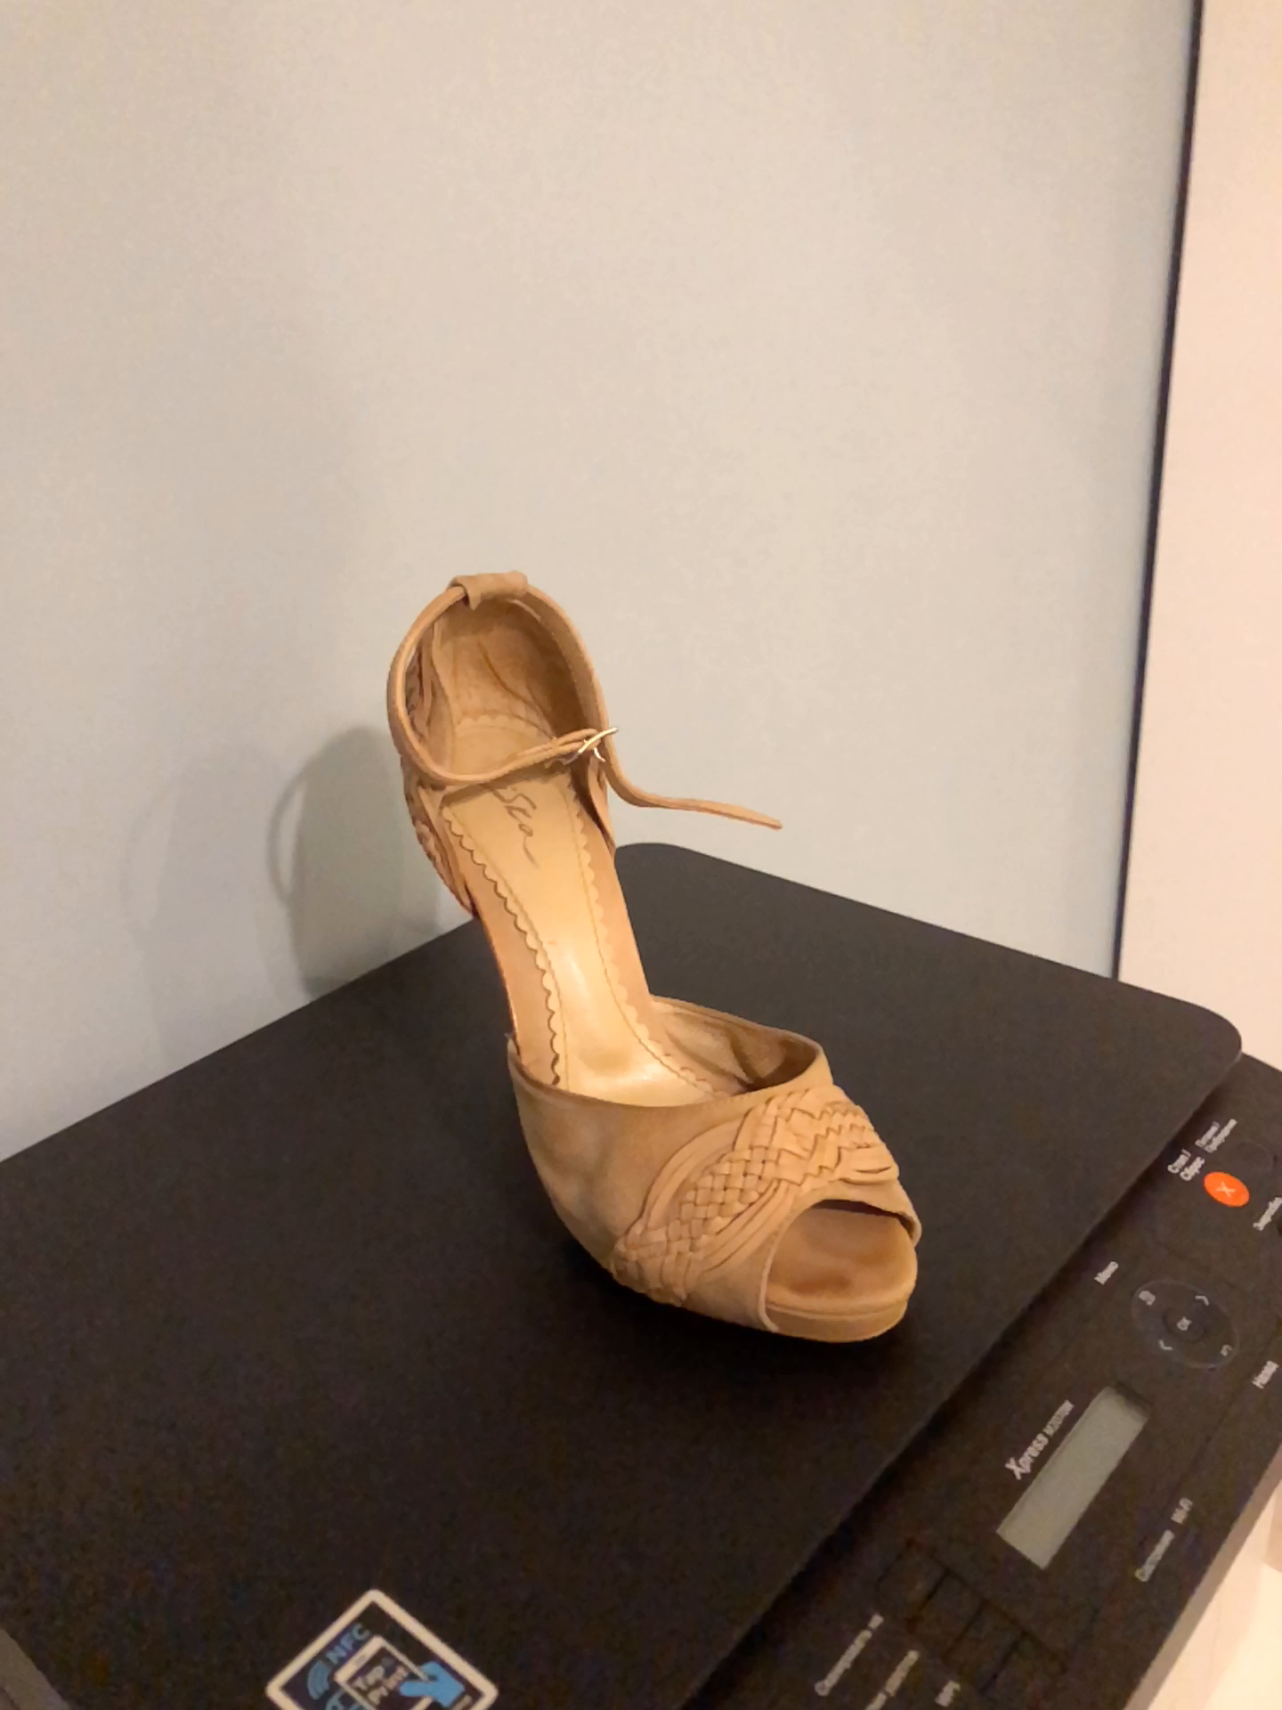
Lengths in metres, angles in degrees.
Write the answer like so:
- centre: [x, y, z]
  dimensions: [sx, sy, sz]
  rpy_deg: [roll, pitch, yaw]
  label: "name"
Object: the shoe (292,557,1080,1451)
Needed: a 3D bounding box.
- centre: [0.000, 0.019, 0.402]
  dimensions: [0.090, 0.159, 0.221]
  rpy_deg: [-19, 29, -32]
  label: "shoe"
